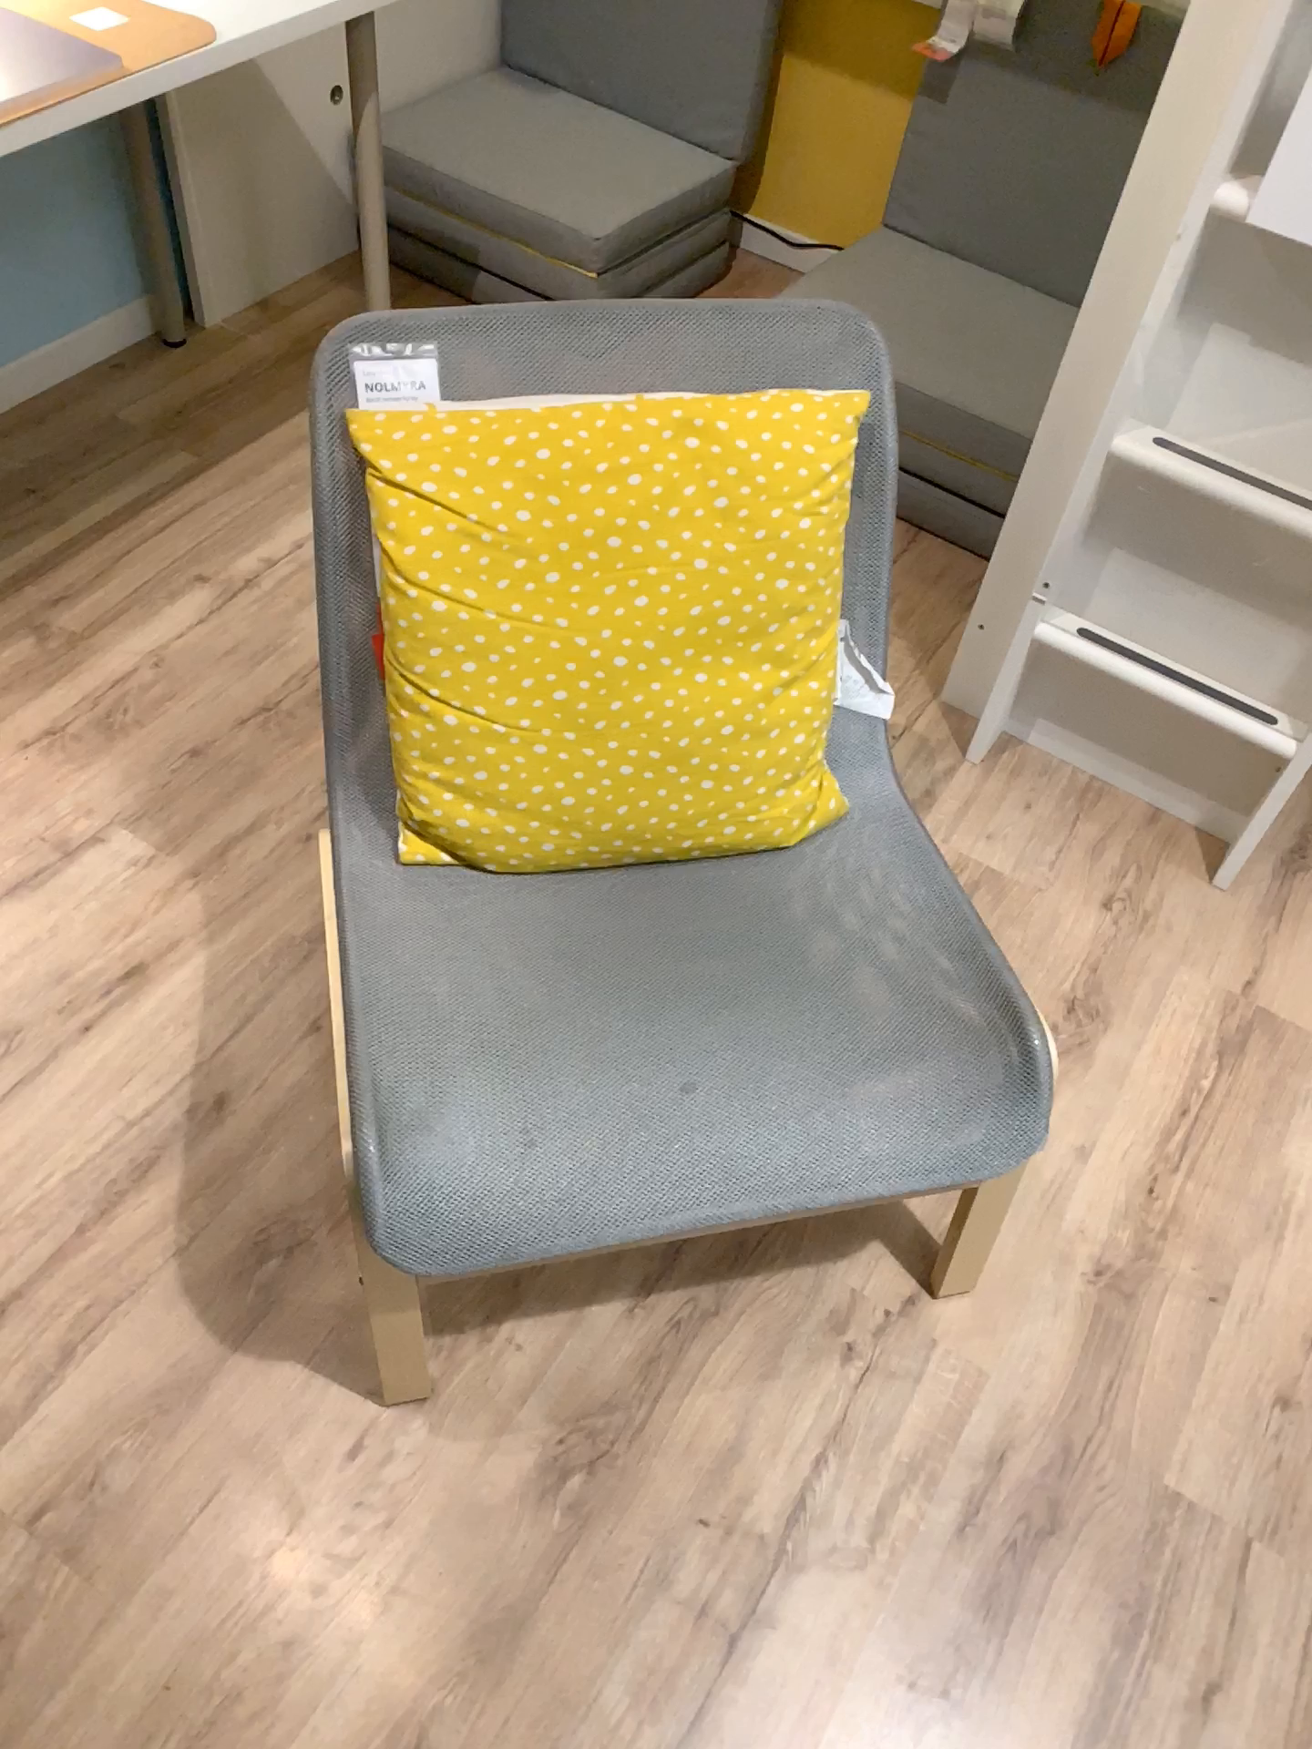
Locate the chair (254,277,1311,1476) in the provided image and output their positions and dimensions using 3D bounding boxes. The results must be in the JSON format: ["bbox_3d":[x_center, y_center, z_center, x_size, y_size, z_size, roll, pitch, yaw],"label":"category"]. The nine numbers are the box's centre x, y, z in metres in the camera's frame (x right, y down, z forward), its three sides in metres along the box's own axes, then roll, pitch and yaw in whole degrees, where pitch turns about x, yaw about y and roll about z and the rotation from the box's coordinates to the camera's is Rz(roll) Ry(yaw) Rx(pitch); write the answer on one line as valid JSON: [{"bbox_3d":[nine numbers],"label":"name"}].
[{"bbox_3d":[0.036,-0.010,1.147,0.630,0.708,0.672,-6,49,-13],"label":"chair"}]
